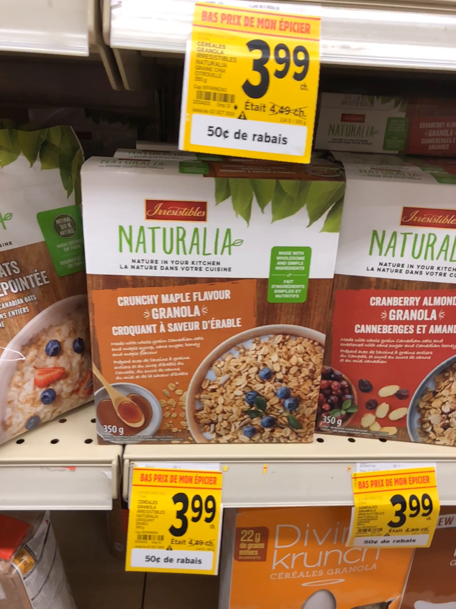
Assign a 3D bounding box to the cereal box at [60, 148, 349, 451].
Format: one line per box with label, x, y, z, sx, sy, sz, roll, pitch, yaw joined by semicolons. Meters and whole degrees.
cereal box;-0.019;0.004;0.360;0.170;0.209;0.050;1;23;-5
